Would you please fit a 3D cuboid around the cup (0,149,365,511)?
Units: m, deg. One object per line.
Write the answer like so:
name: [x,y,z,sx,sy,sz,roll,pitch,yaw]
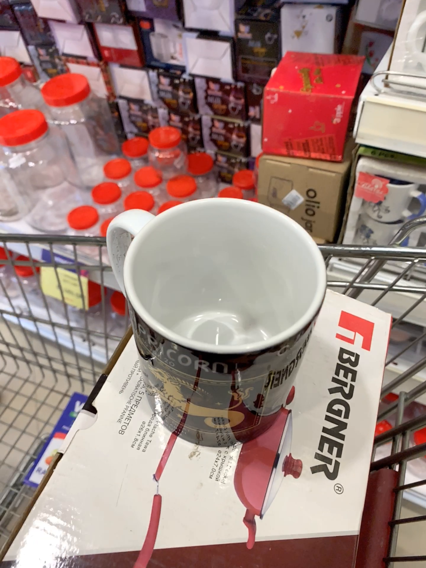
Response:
cup: [-0.017,0.018,0.198,0.120,0.090,0.080,28,58,20]
